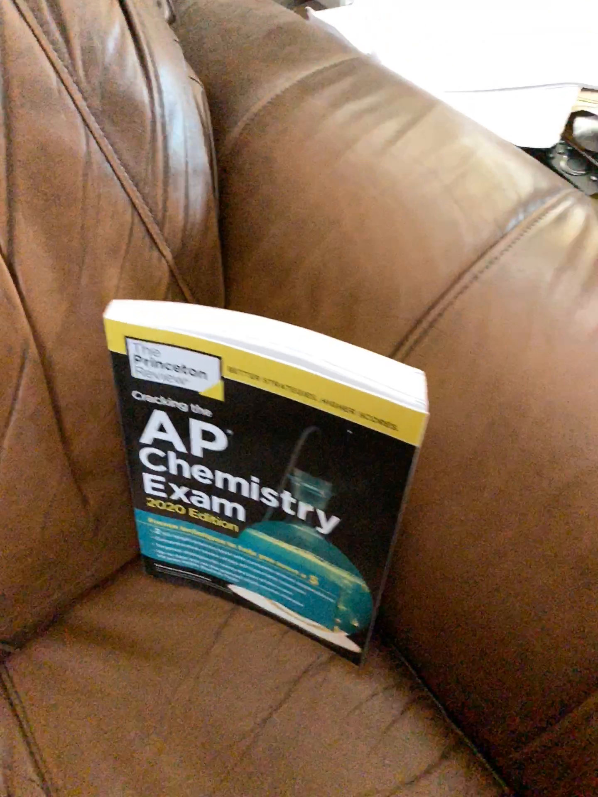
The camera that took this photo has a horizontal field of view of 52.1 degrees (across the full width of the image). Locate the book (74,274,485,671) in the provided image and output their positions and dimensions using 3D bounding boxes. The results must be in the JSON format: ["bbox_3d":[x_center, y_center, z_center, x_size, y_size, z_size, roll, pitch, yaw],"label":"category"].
[{"bbox_3d":[-0.024,0.080,0.466,0.240,0.319,0.040,18,47,13],"label":"book"}]
